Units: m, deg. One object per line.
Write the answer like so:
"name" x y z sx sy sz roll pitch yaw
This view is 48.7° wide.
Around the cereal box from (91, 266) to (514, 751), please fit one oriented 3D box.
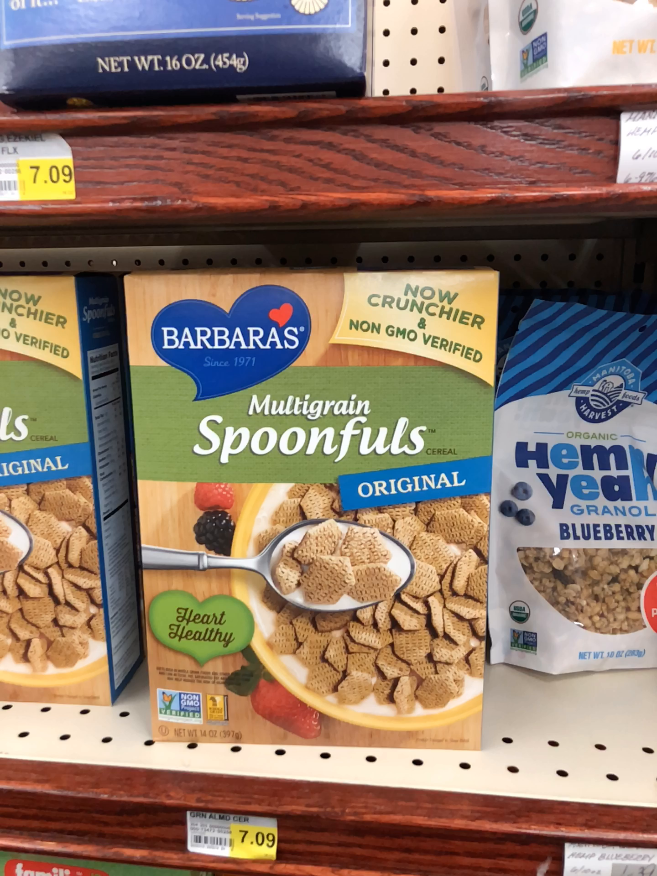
"cereal box" -0.011 0.037 0.396 0.200 0.250 0.060 0 11 3
